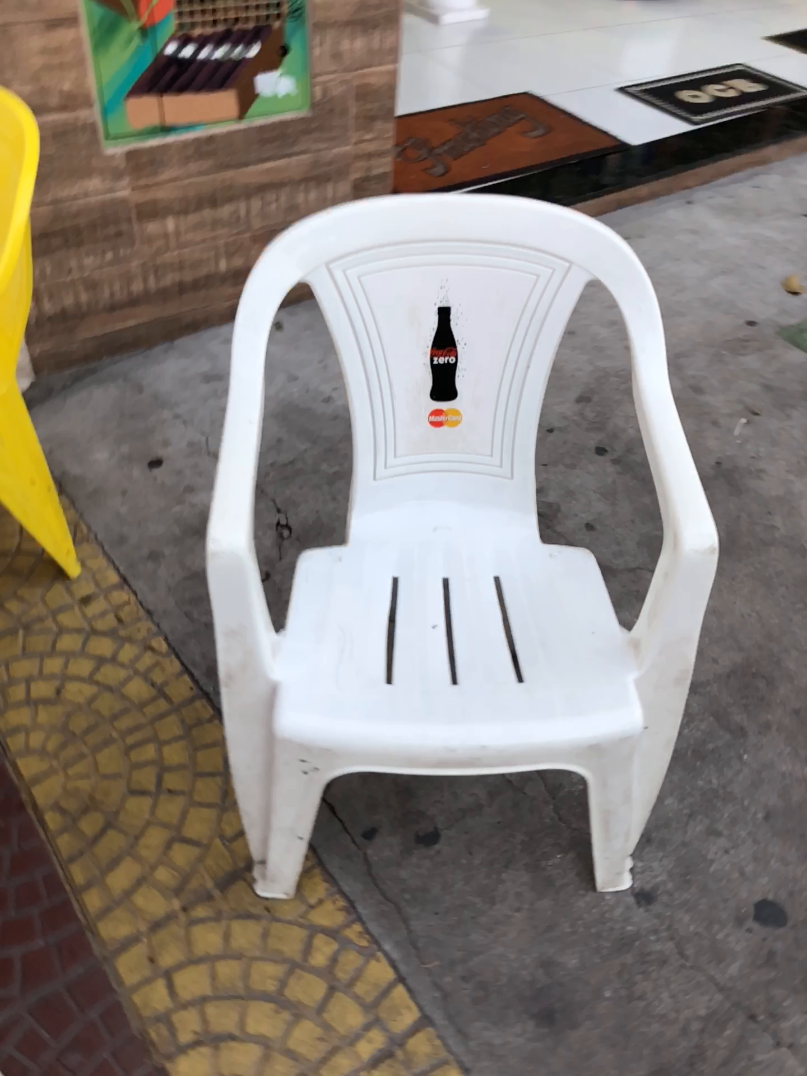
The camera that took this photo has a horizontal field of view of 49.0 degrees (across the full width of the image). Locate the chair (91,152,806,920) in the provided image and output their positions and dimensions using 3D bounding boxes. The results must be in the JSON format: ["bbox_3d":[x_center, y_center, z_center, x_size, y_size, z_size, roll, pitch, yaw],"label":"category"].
[{"bbox_3d":[0.074,0.027,1.083,0.640,0.745,0.554,1,43,-4],"label":"chair"}]
